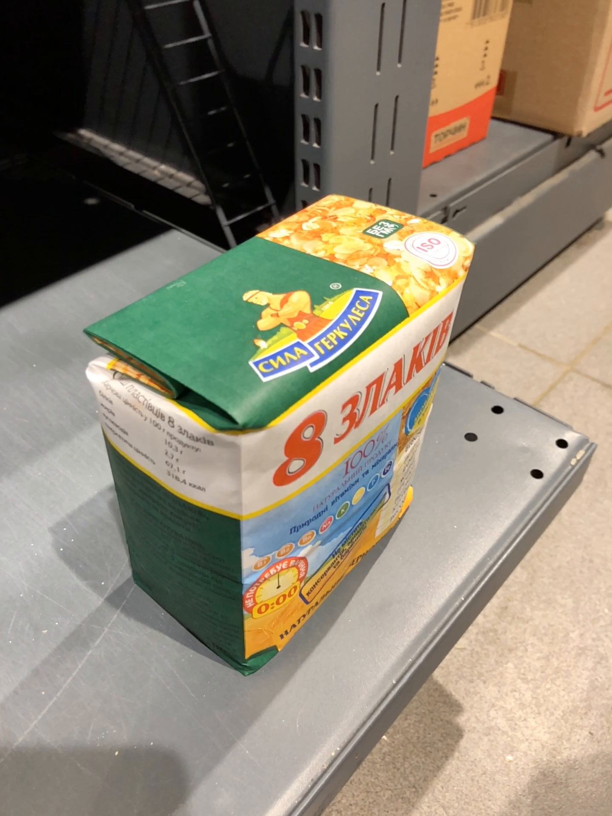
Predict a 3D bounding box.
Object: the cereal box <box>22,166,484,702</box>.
[{"bbox_3d":[-0.010,0.006,0.241,0.070,0.129,0.121,29,49,28],"label":"cereal box"}]
